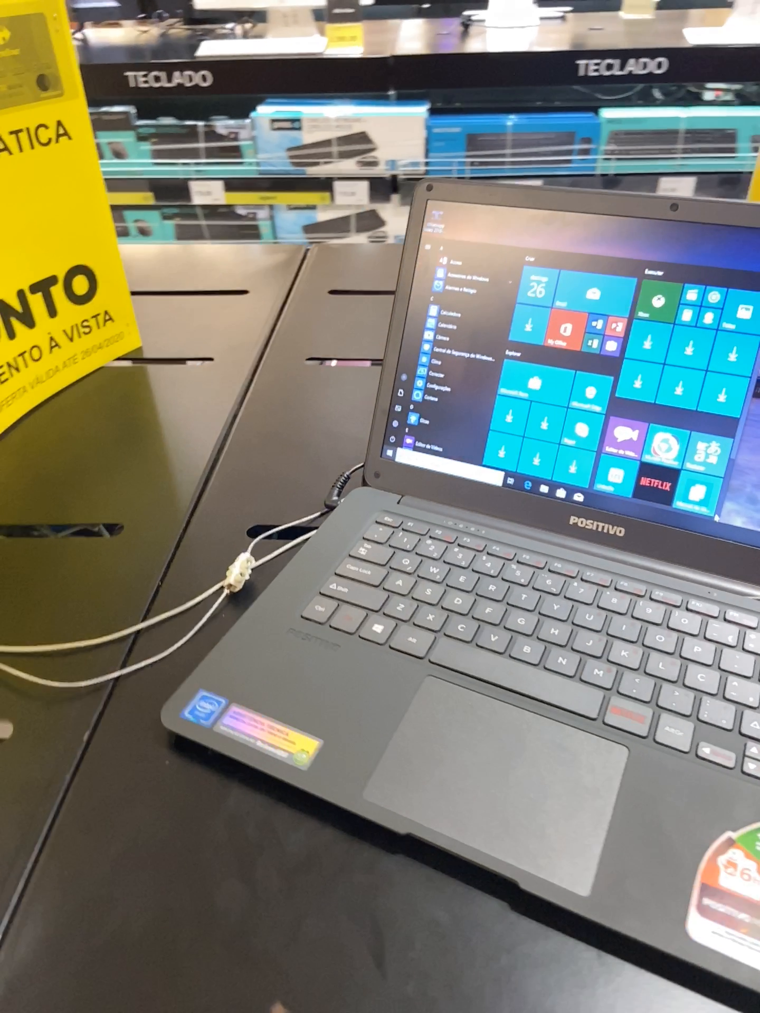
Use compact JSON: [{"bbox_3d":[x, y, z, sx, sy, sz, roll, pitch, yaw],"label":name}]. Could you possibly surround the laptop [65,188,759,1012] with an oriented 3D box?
[{"bbox_3d":[0.095,-0.010,0.351,0.296,0.159,0.293,15,40,23],"label":"laptop"}]
